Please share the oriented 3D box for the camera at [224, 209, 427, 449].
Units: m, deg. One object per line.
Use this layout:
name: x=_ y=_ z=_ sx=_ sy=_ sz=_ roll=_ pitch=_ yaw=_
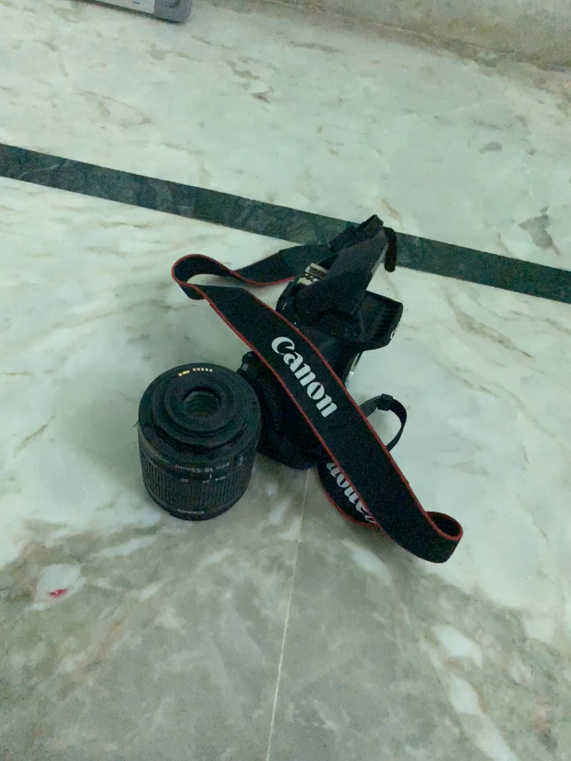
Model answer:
camera: x=0.025 y=-0.035 z=0.382 sx=0.082 sy=0.078 sz=0.112 roll=25 pitch=53 yaw=8
